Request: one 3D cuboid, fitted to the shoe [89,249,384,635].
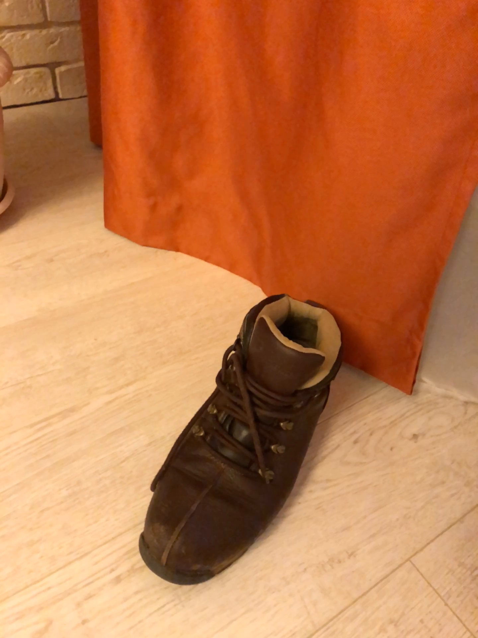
[{"bbox_3d":[0.015,0.091,0.489,0.110,0.159,0.302,24,46,18],"label":"shoe"}]
